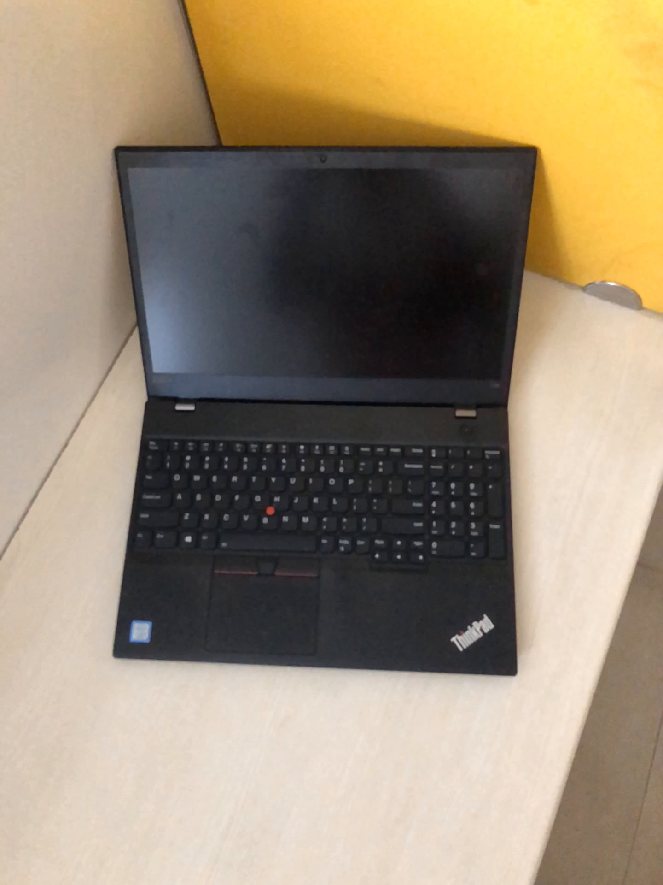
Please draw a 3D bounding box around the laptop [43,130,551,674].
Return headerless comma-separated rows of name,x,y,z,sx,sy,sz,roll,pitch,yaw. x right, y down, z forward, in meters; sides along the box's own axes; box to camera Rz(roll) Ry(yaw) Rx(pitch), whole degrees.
laptop,-0.016,-0.033,0.626,0.344,0.151,0.421,1,73,2
